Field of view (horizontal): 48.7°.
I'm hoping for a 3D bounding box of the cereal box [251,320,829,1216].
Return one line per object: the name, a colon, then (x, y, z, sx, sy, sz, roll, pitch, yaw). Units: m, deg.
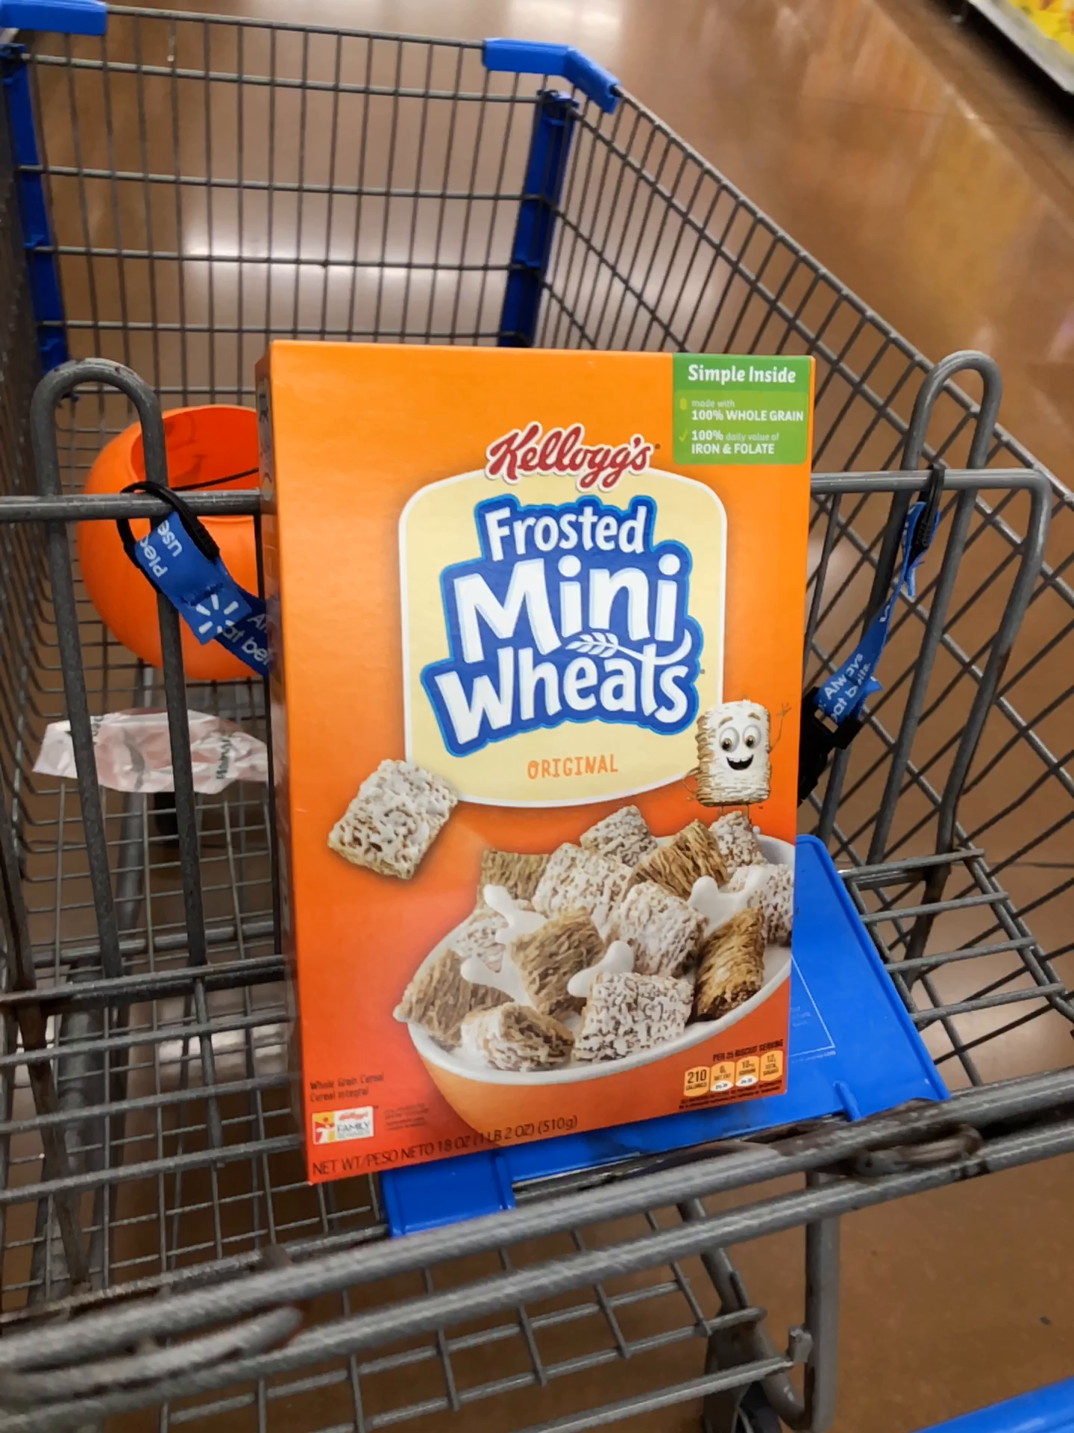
cereal box: (0.002, 0.014, 0.441, 0.190, 0.290, 0.070, -4, 11, -21)
